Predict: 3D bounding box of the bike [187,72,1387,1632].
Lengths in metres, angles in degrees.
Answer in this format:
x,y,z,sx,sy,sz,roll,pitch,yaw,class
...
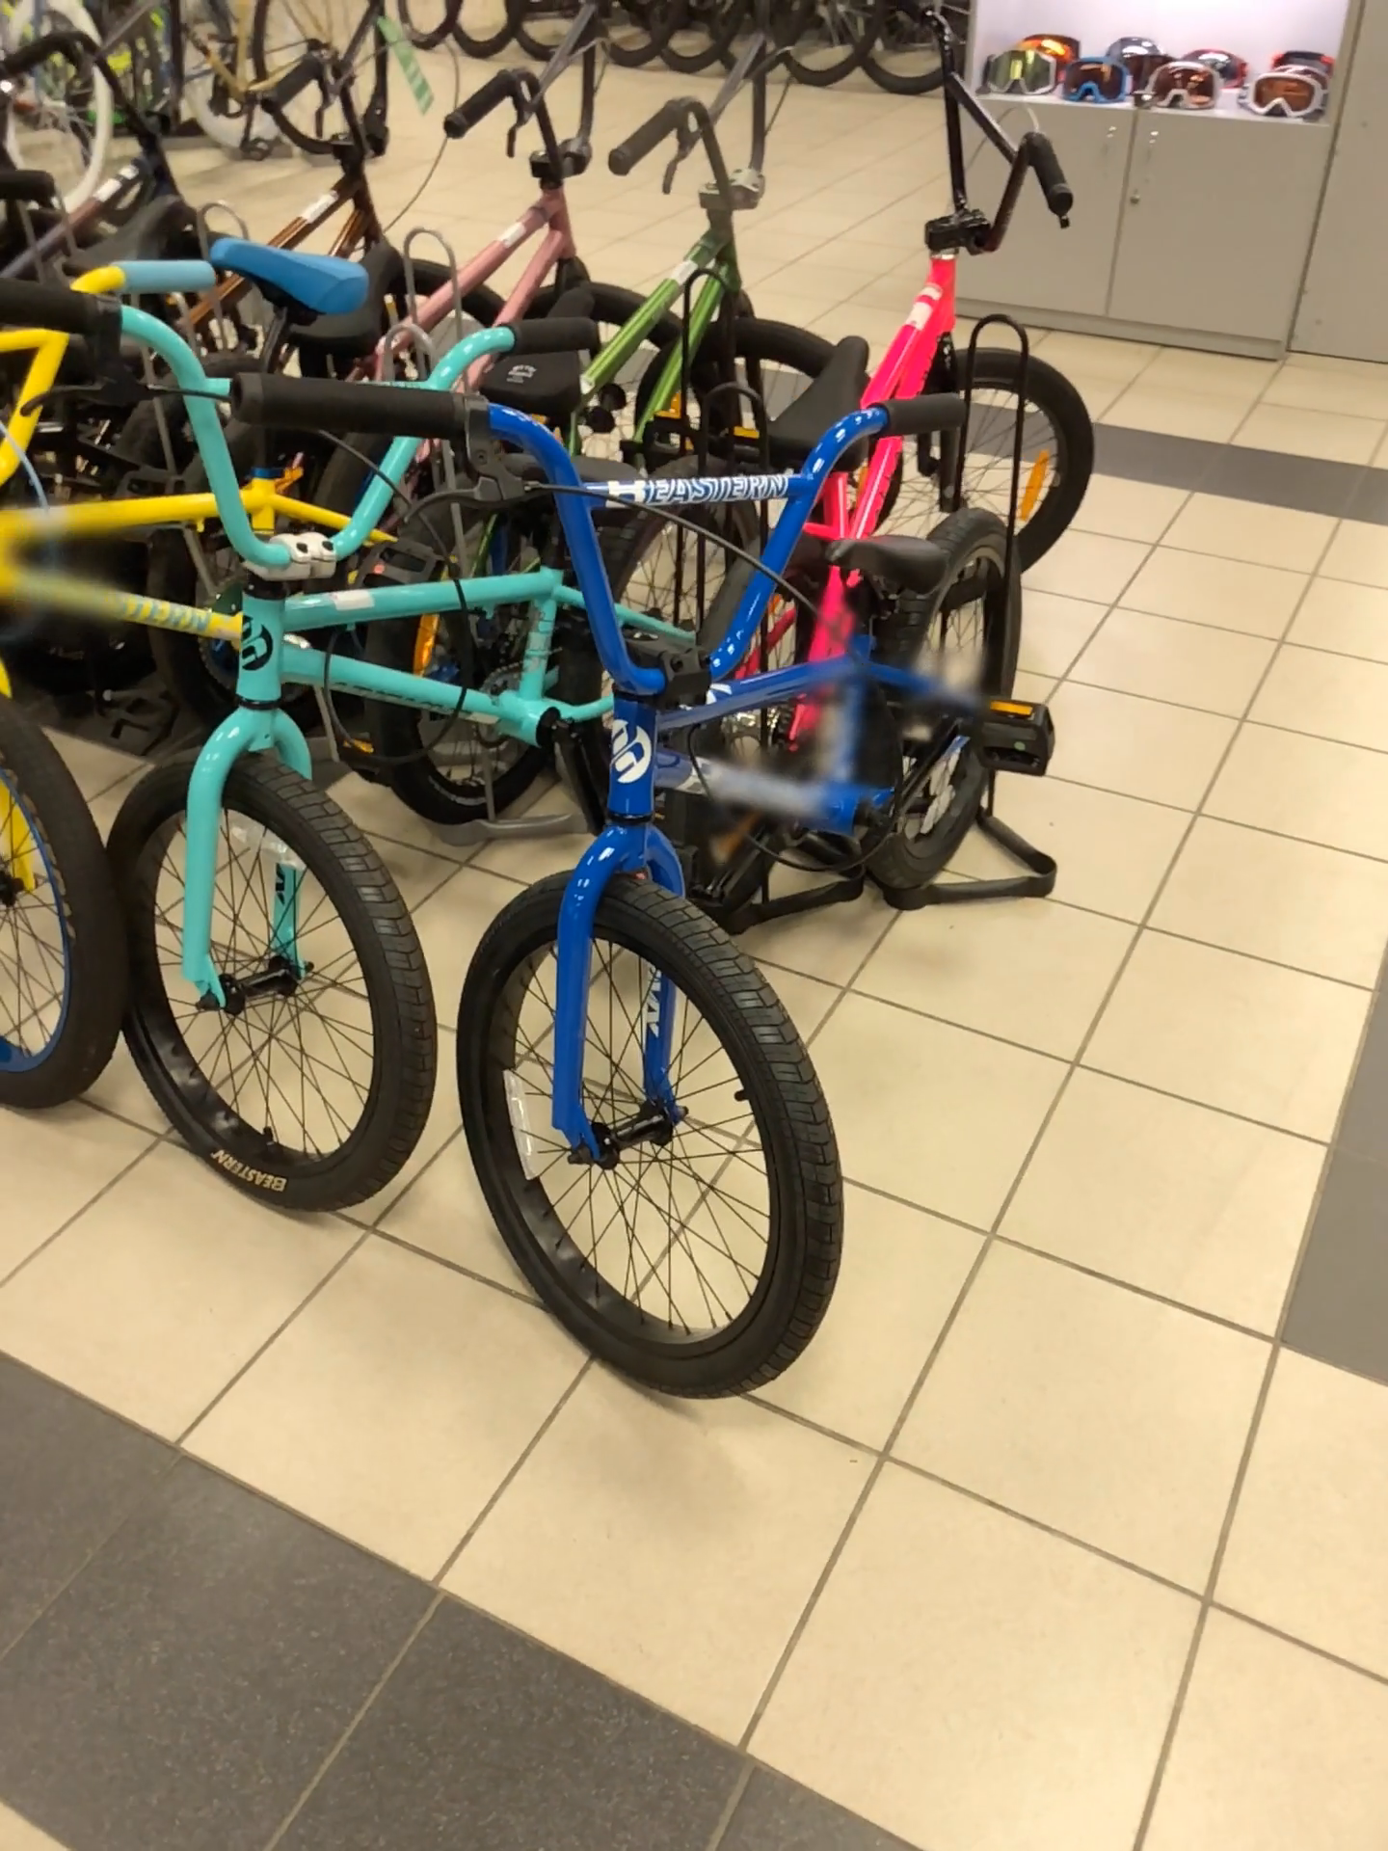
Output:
x,y,z,sx,sy,sz,roll,pitch,yaw,class
0.232,-0.255,1.619,0.821,0.961,1.264,12,38,16,bike
